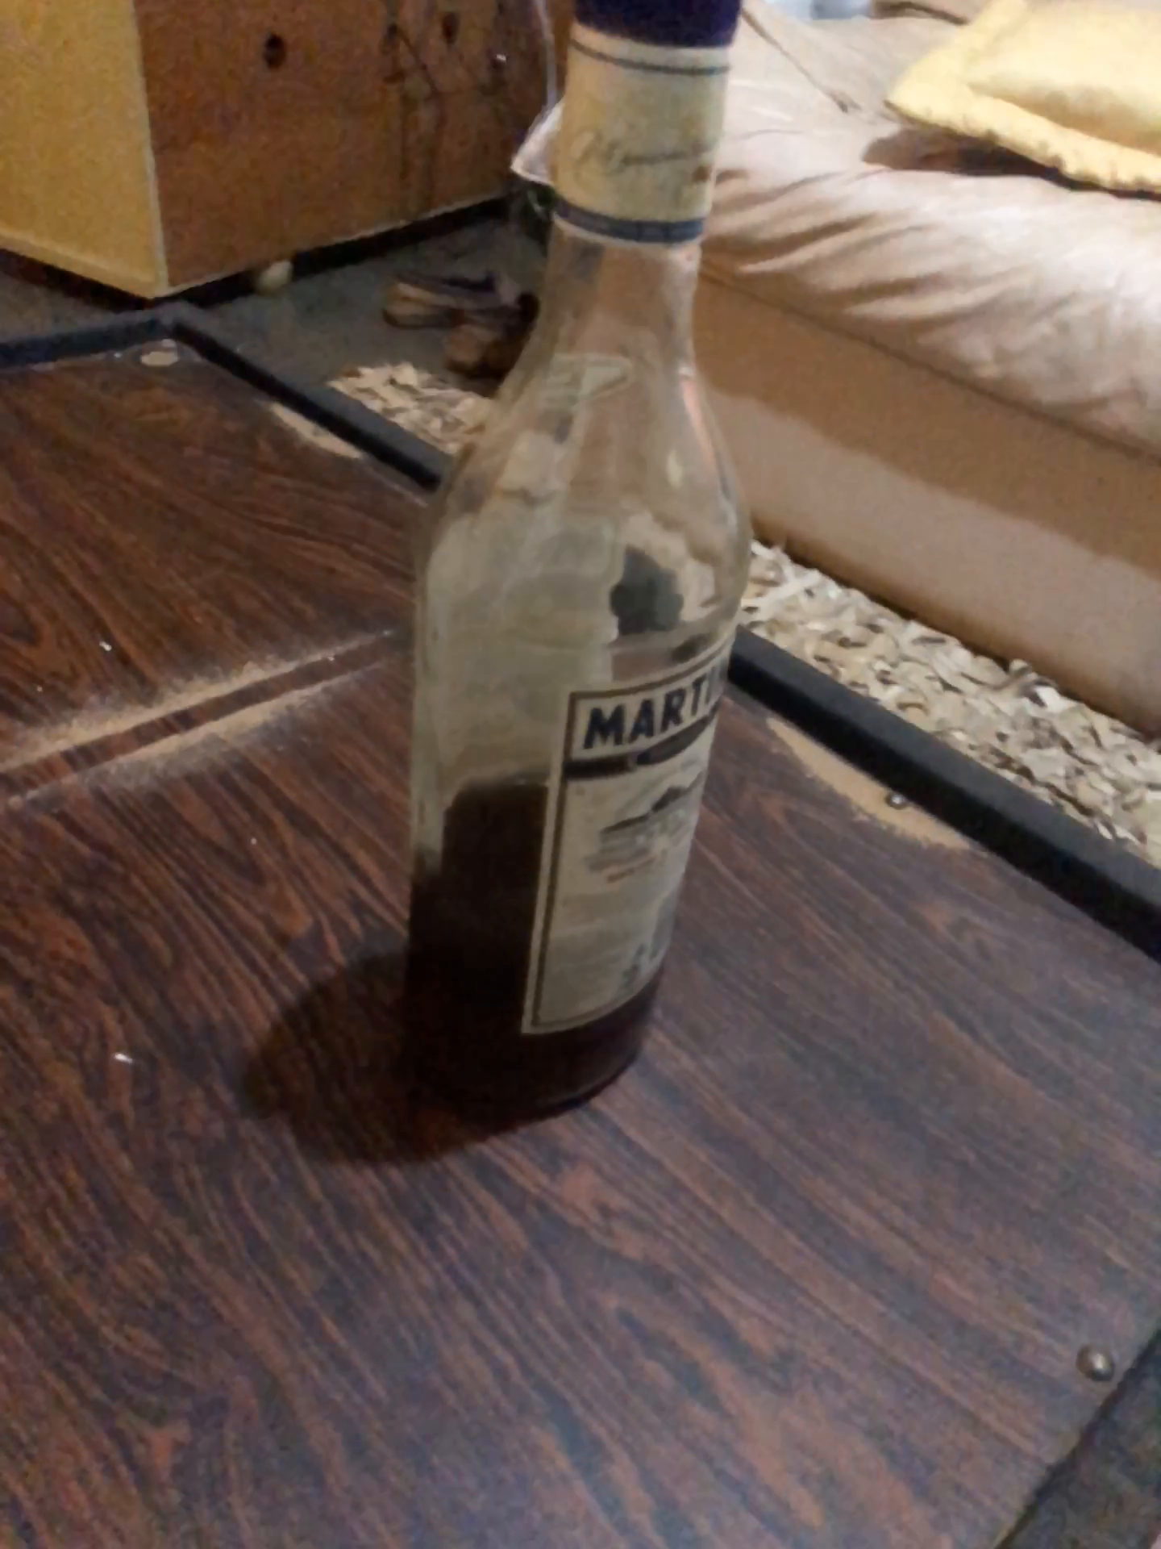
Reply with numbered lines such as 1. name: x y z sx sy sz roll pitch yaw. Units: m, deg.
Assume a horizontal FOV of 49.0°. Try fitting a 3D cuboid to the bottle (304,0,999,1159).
1. bottle: 0.001 -0.047 0.334 0.100 0.298 0.090 -22 45 -32
